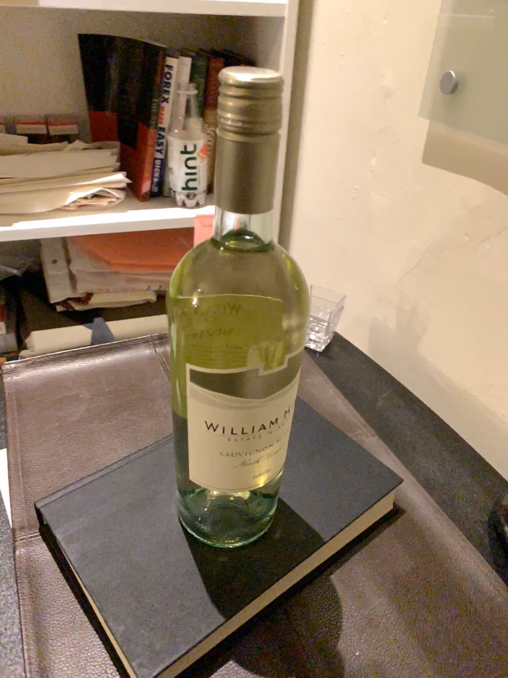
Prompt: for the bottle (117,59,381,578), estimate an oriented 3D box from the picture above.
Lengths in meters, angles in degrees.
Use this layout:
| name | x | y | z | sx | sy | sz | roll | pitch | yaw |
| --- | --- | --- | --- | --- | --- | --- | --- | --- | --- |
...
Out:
| name | x | y | z | sx | sy | sz | roll | pitch | yaw |
| --- | --- | --- | --- | --- | --- | --- | --- | --- | --- |
| bottle | -0.014 | 0.002 | 0.320 | 0.090 | 0.298 | 0.090 | 3 | 33 | -2 |
